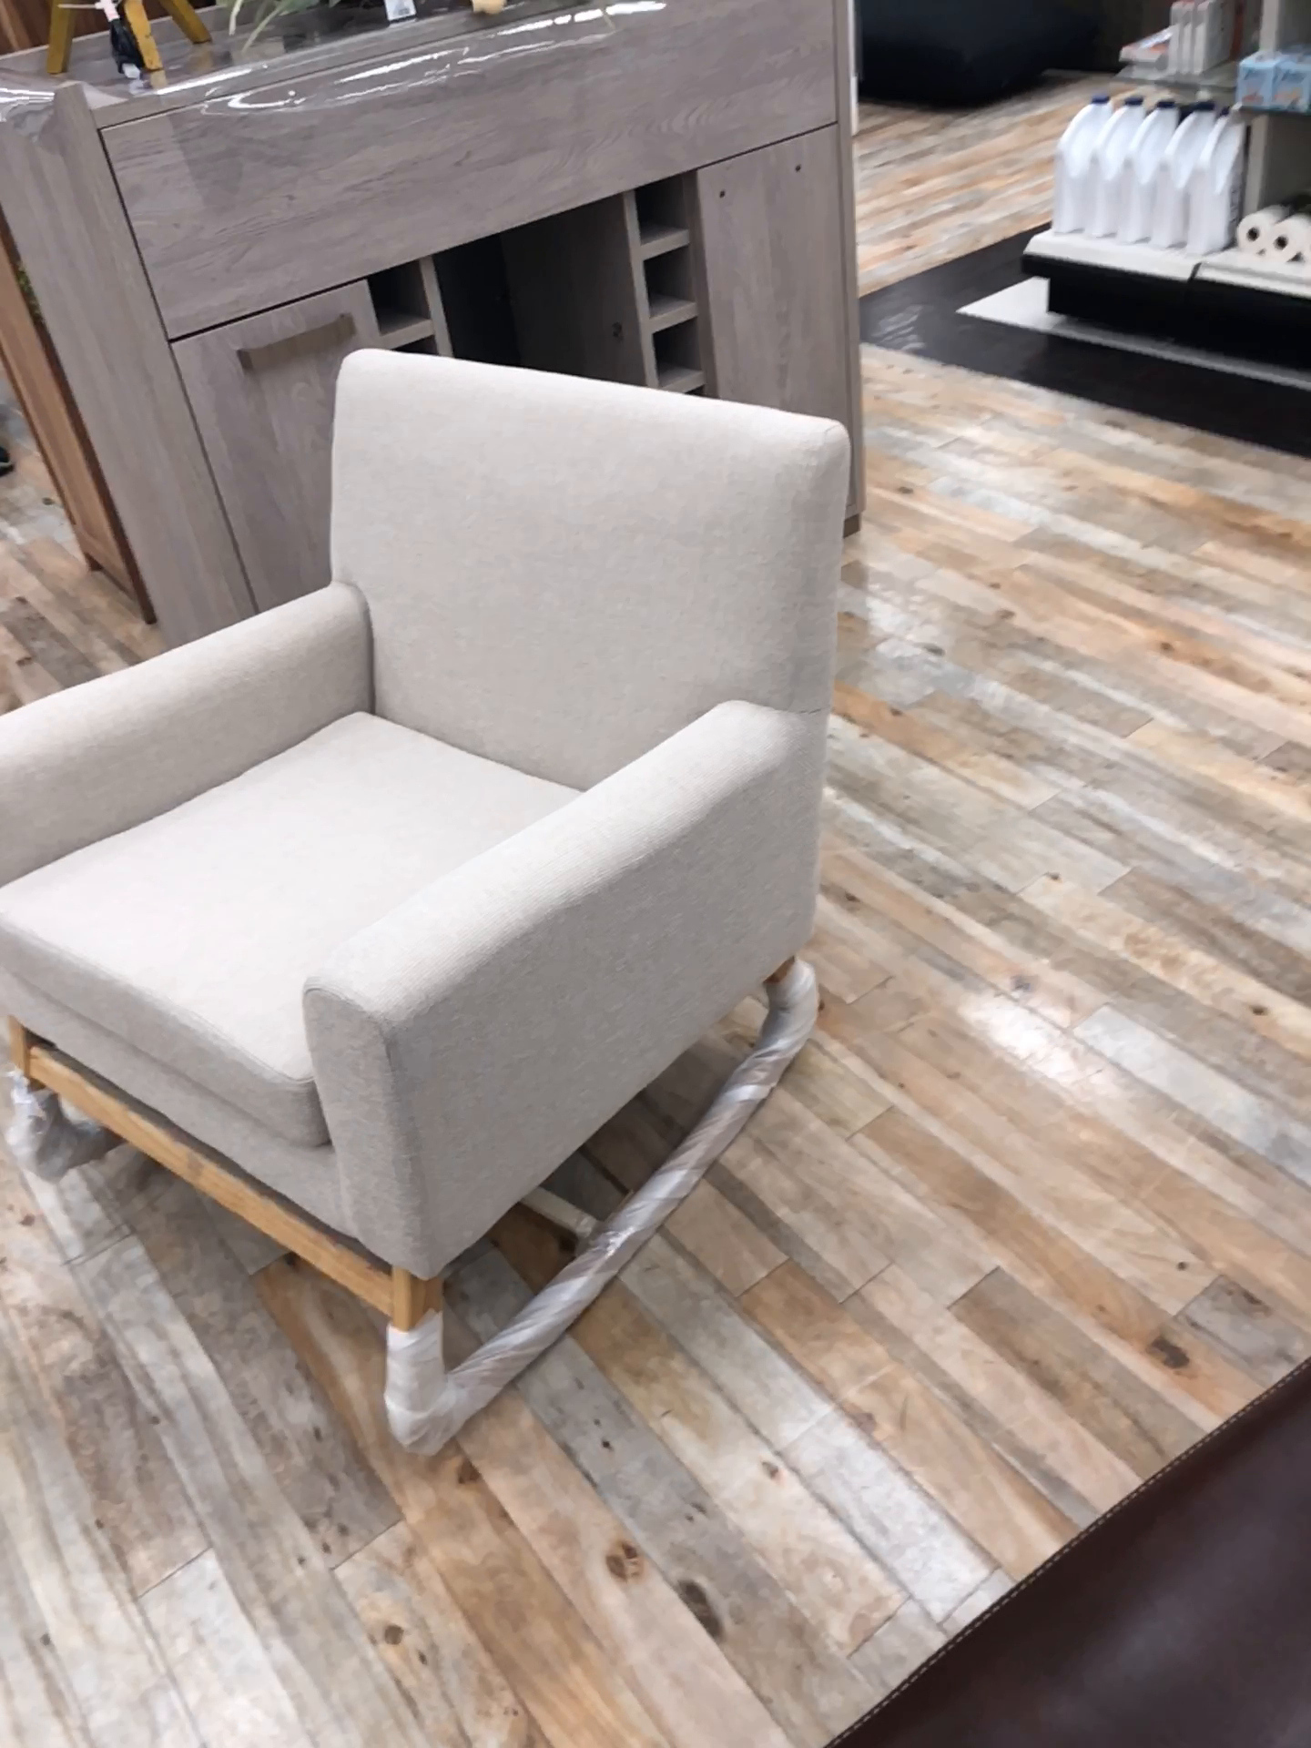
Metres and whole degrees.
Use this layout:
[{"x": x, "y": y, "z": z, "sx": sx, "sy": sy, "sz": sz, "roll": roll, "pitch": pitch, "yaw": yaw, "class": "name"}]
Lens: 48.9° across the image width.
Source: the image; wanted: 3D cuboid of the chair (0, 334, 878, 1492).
[{"x": -0.281, "y": -0.037, "z": 1.473, "sx": 0.702, "sy": 0.707, "sz": 0.741, "roll": 22, "pitch": 47, "yaw": 34, "class": "chair"}]
